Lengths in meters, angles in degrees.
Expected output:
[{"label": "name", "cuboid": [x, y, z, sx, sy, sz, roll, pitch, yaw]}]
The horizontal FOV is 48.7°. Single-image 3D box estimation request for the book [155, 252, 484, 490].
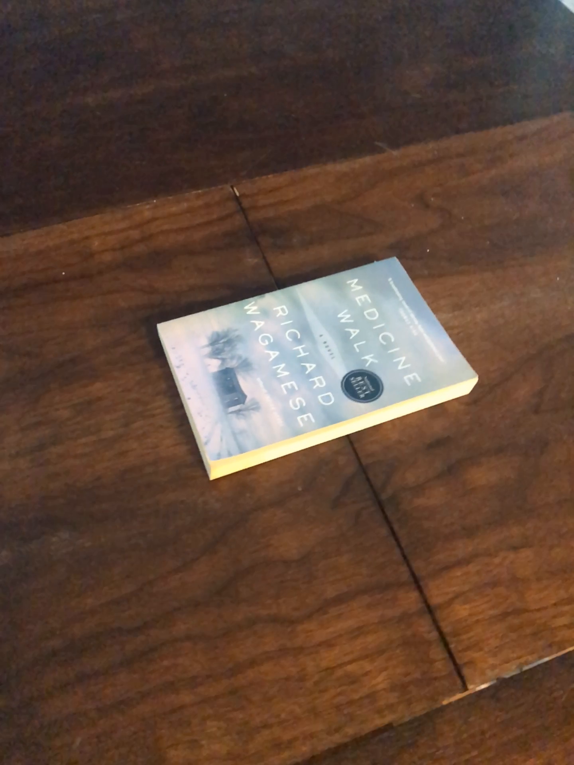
[{"label": "book", "cuboid": [0.021, -0.017, 0.480, 0.206, 0.027, 0.138, -17, 59, -13]}]
